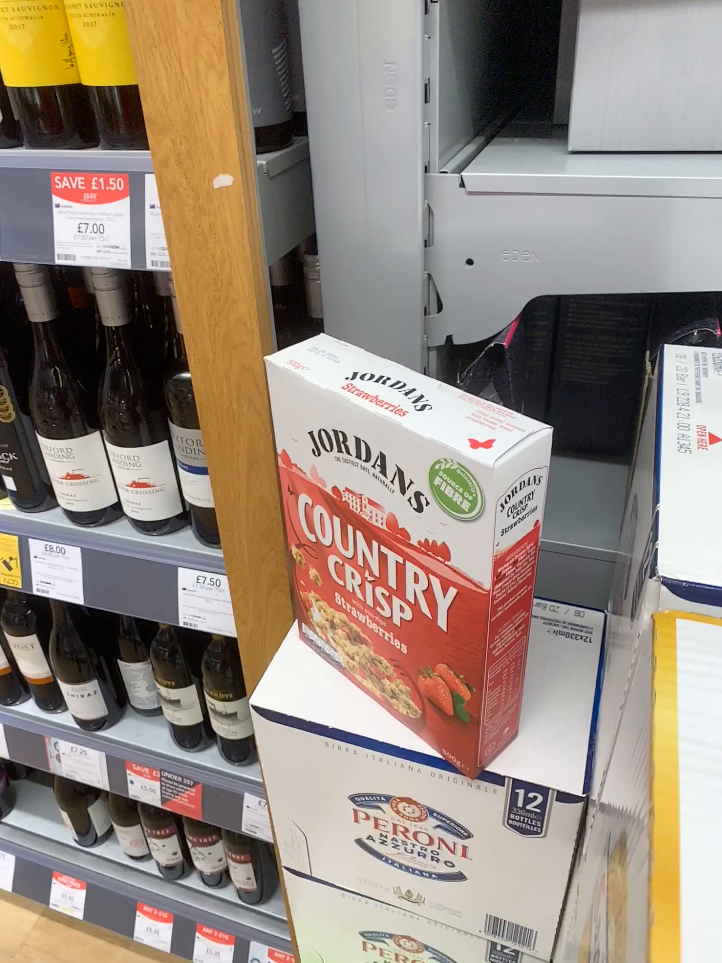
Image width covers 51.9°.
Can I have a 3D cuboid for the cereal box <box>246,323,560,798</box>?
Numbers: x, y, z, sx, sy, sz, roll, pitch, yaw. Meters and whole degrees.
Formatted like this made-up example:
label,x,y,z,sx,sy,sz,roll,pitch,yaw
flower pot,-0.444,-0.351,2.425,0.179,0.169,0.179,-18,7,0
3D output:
label,x,y,z,sx,sy,sz,roll,pitch,yaw
cereal box,0.019,0.049,0.472,0.050,0.248,0.191,-29,42,-33
